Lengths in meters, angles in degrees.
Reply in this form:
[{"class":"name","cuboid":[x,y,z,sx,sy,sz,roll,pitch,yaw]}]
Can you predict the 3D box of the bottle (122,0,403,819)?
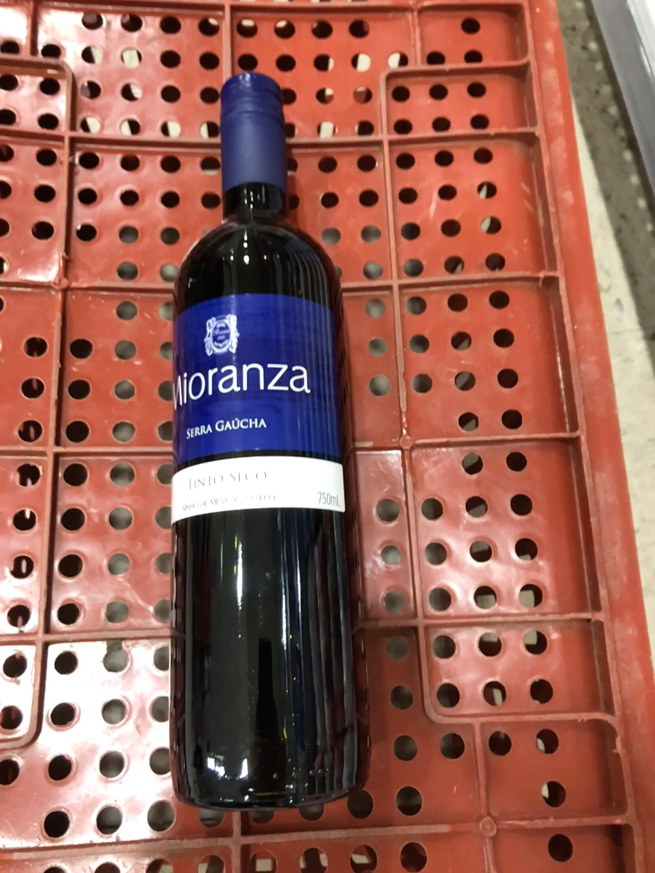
[{"class":"bottle","cuboid":[-0.029,-0.021,0.290,0.080,0.060,0.300,-8,75,15]}]
